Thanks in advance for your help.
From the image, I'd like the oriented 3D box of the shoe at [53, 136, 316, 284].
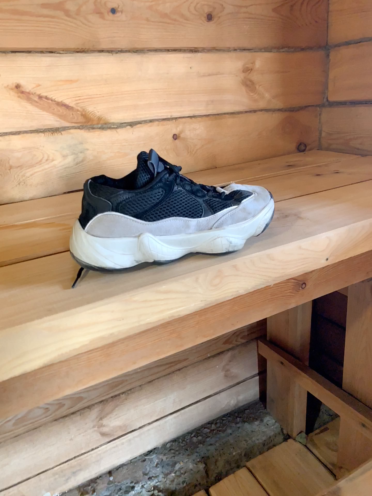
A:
[{"bbox_3d":[-0.004,-0.058,0.442,0.270,0.109,0.121,-10,21,-16],"label":"shoe"}]
